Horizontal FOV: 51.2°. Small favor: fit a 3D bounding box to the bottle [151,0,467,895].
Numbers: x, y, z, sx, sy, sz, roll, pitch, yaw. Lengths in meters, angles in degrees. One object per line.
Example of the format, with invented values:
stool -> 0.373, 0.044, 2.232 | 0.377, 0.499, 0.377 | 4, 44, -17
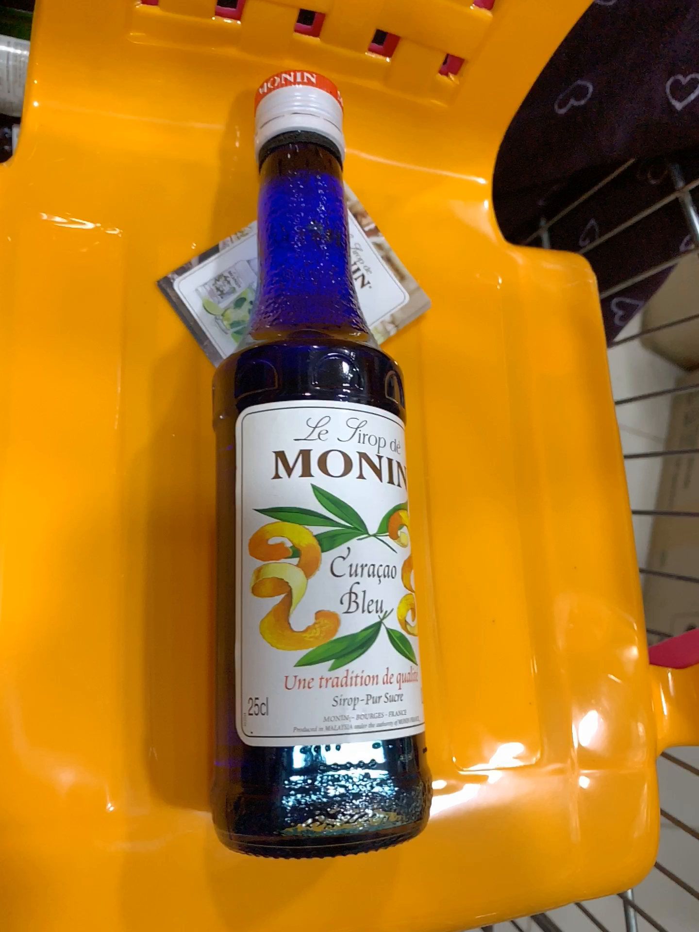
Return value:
bottle -> -0.014, -0.018, 0.199 | 0.060, 0.050, 0.220 | 6, 75, -26
